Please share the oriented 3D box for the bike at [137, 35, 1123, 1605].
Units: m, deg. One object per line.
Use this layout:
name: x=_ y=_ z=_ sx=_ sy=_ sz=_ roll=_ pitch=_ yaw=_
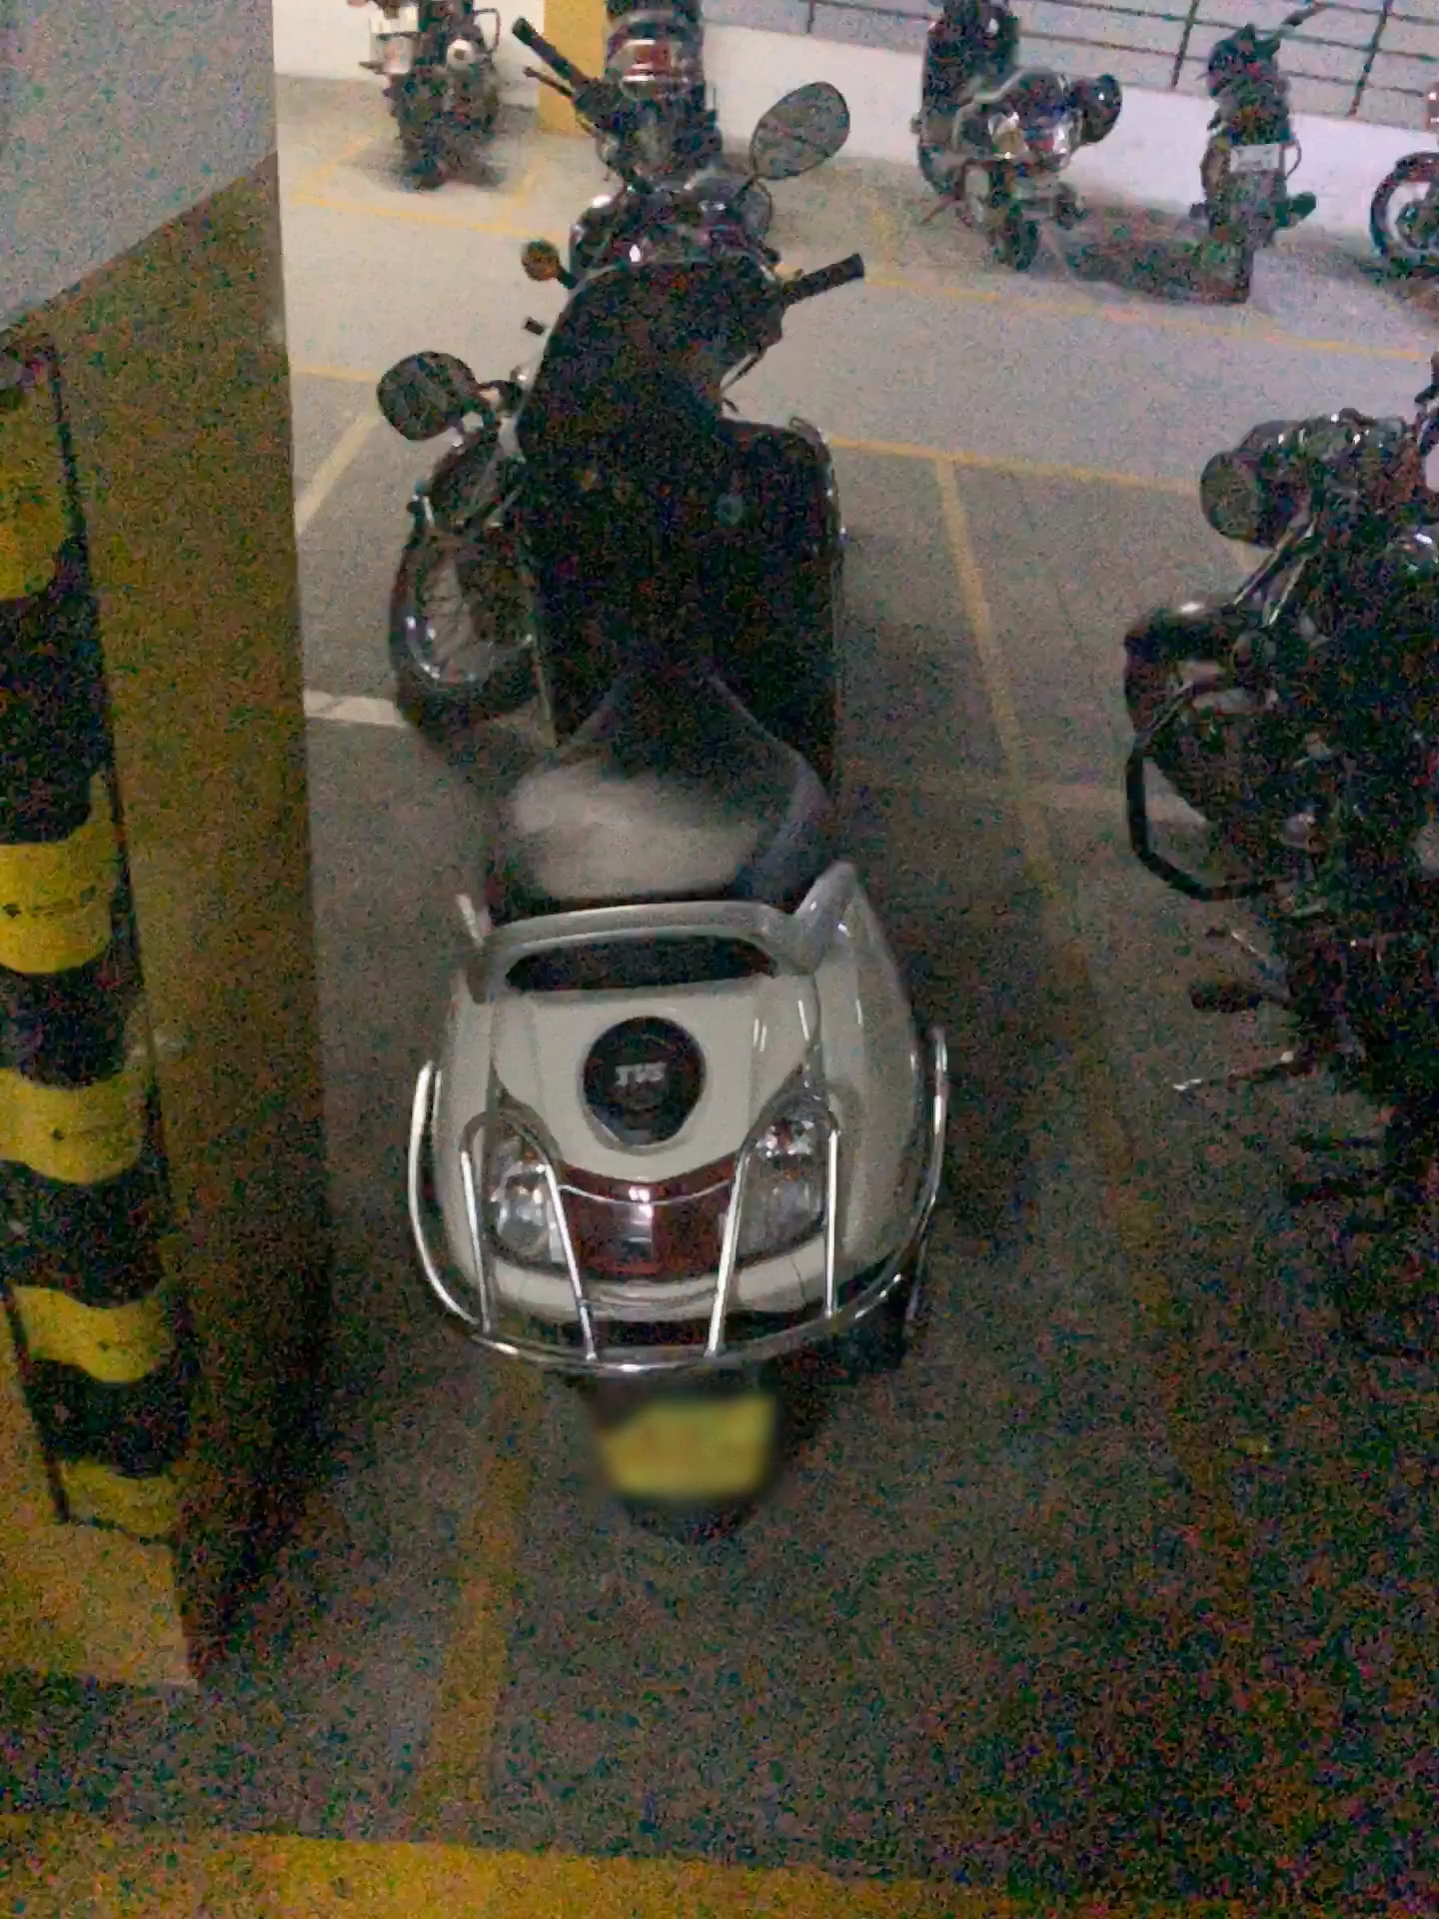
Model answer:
bike: x=-0.131 y=-0.279 z=1.879 sx=0.647 sy=1.159 sz=1.539 roll=5 pitch=41 yaw=-5
